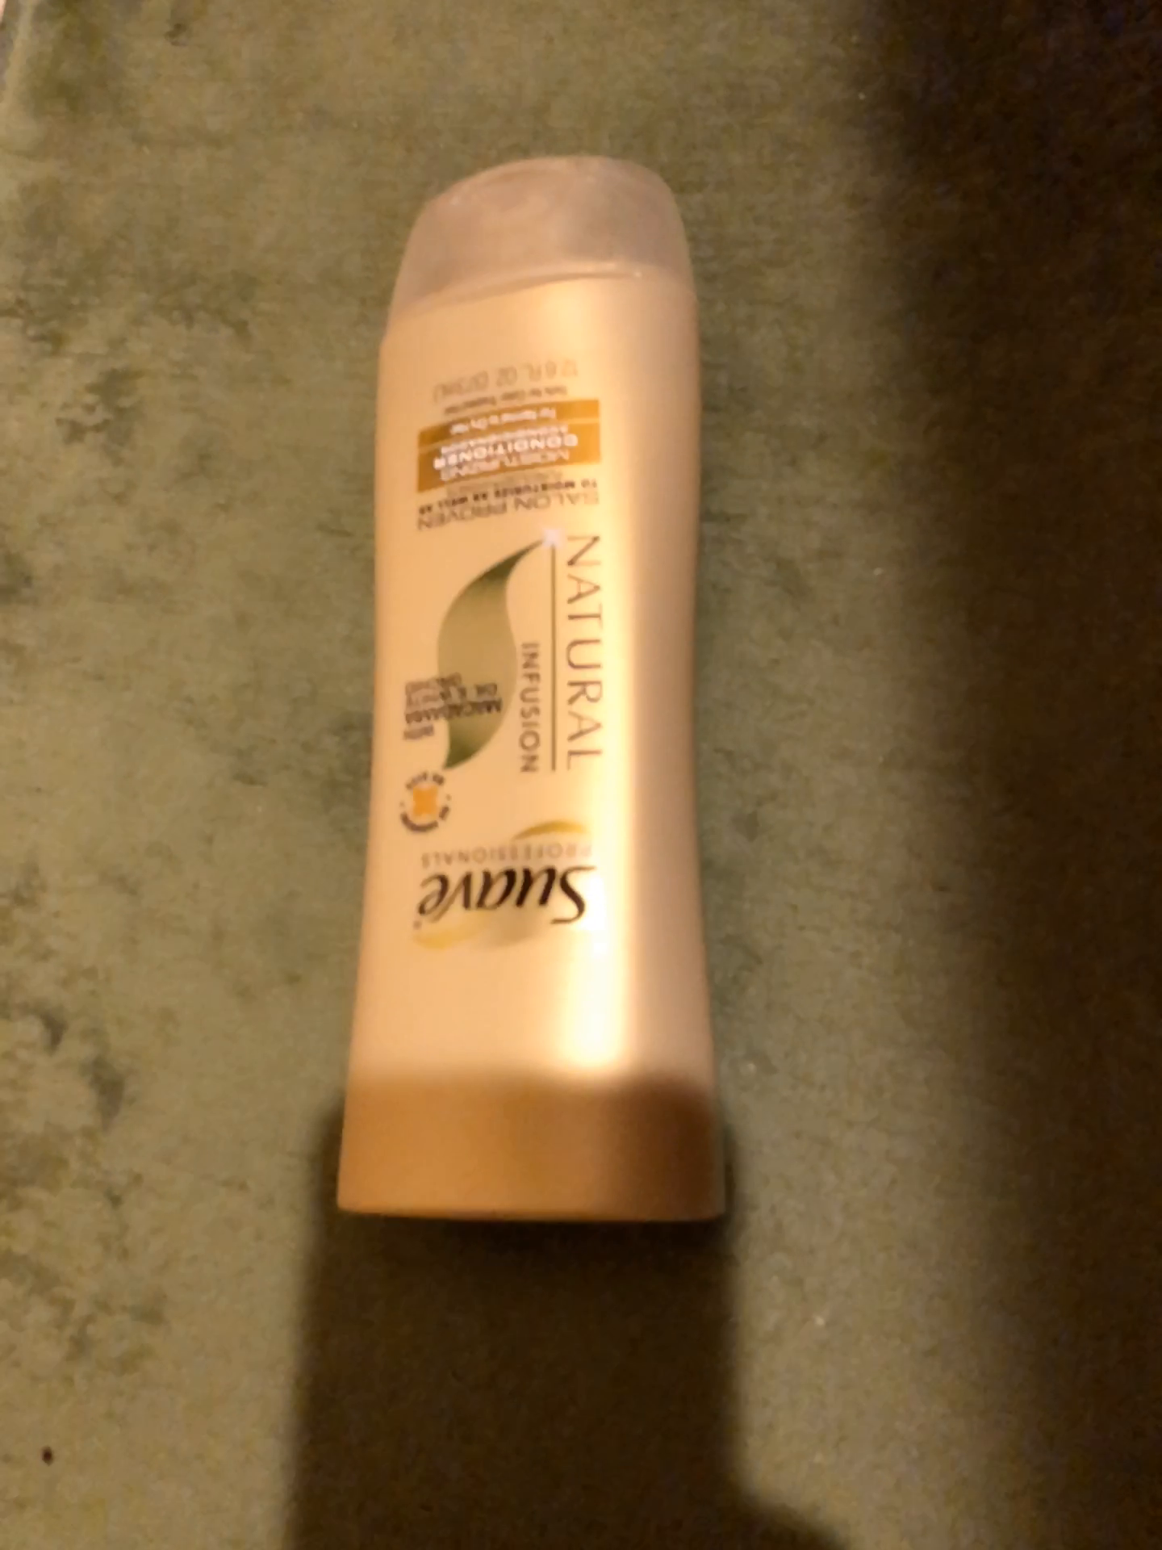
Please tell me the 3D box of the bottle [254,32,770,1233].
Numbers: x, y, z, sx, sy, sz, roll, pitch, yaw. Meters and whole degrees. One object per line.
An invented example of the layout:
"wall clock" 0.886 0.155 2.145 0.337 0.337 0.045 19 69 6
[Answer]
"bottle" -0.011 -0.028 0.258 0.080 0.050 0.220 -5 75 18
